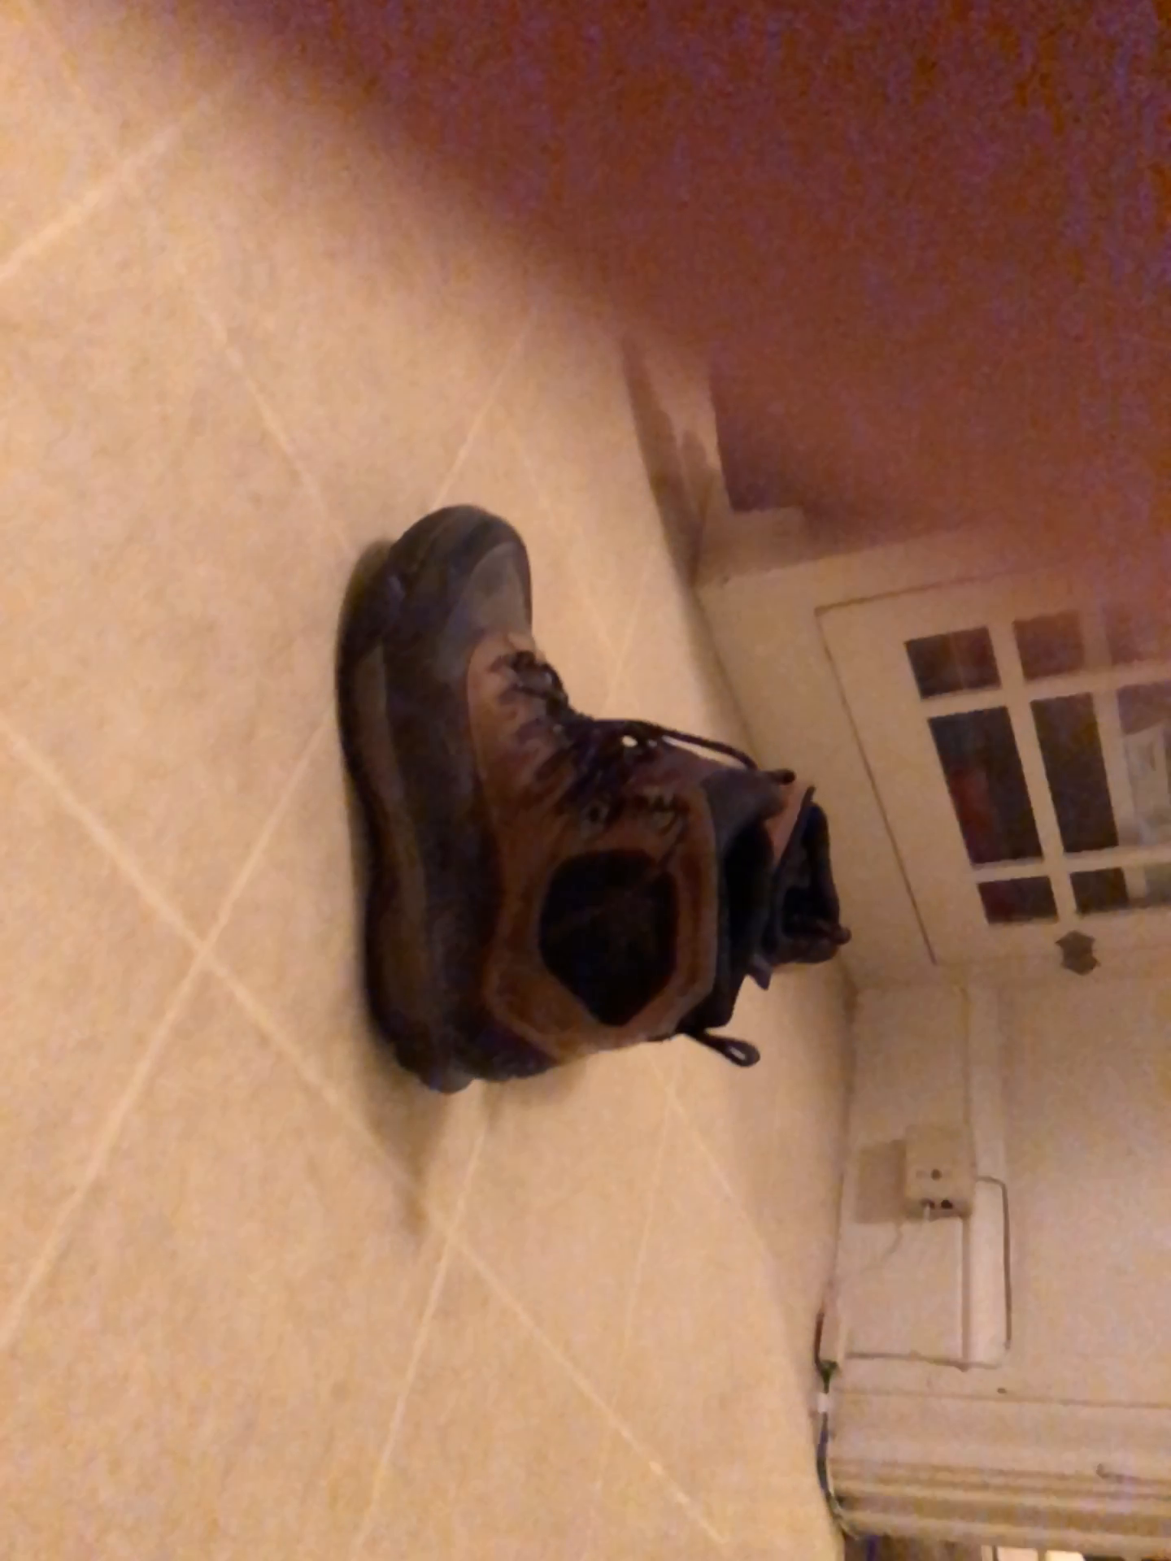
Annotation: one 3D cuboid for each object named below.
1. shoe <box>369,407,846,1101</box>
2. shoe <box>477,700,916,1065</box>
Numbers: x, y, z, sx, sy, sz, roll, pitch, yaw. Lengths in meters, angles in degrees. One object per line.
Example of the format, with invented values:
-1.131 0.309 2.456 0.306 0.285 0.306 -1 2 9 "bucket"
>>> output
0.010 -0.002 0.645 0.122 0.185 0.299 19 65 -65 "shoe"
0.089 0.052 0.809 0.294 0.185 0.113 -40 119 -64 "shoe"
